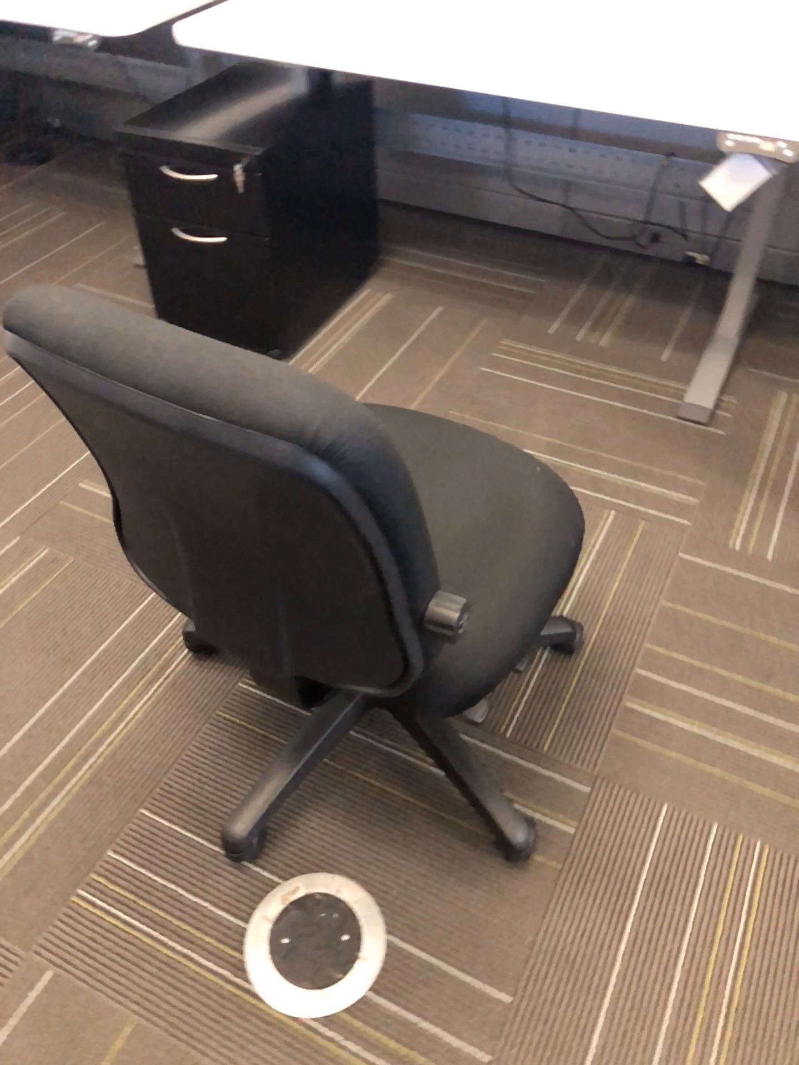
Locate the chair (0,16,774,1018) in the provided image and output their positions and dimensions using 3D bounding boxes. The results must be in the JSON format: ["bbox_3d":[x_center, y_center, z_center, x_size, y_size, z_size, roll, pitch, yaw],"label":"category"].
[{"bbox_3d":[-0.092,-0.069,1.164,0.771,0.846,0.763,19,46,19],"label":"chair"}]
